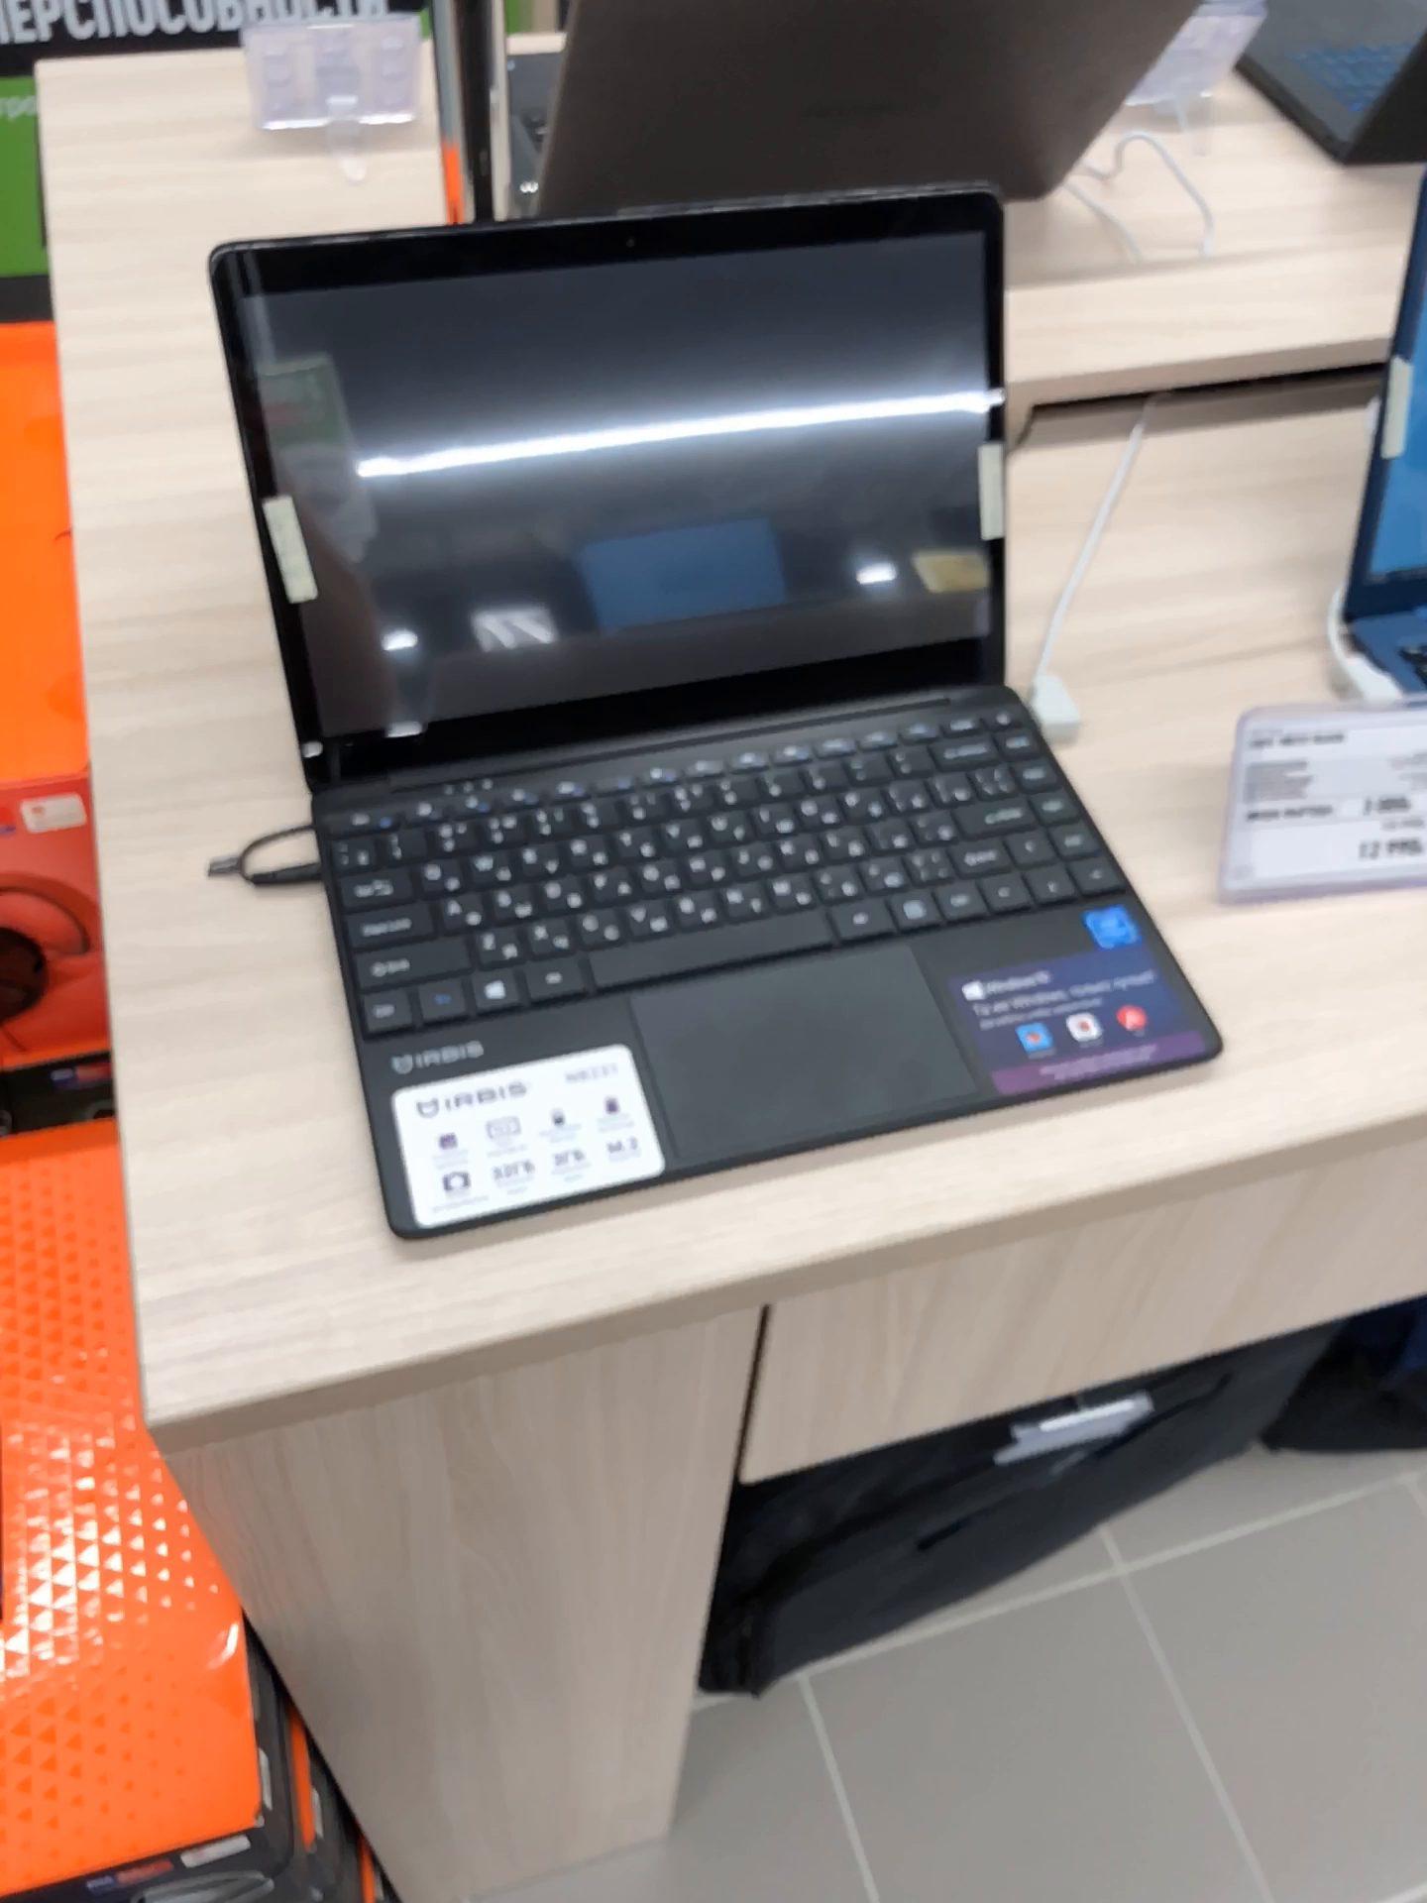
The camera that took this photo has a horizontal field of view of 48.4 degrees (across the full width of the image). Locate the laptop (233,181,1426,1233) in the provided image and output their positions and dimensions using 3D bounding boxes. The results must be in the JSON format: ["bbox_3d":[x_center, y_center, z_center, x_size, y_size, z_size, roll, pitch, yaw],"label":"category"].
[{"bbox_3d":[0.011,-0.108,0.577,0.304,0.172,0.307,-11,52,-13],"label":"laptop"}]

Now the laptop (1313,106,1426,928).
[{"bbox_3d":[0.487,-0.198,0.680,0.308,0.186,0.266,-10,51,-12],"label":"laptop"}]
